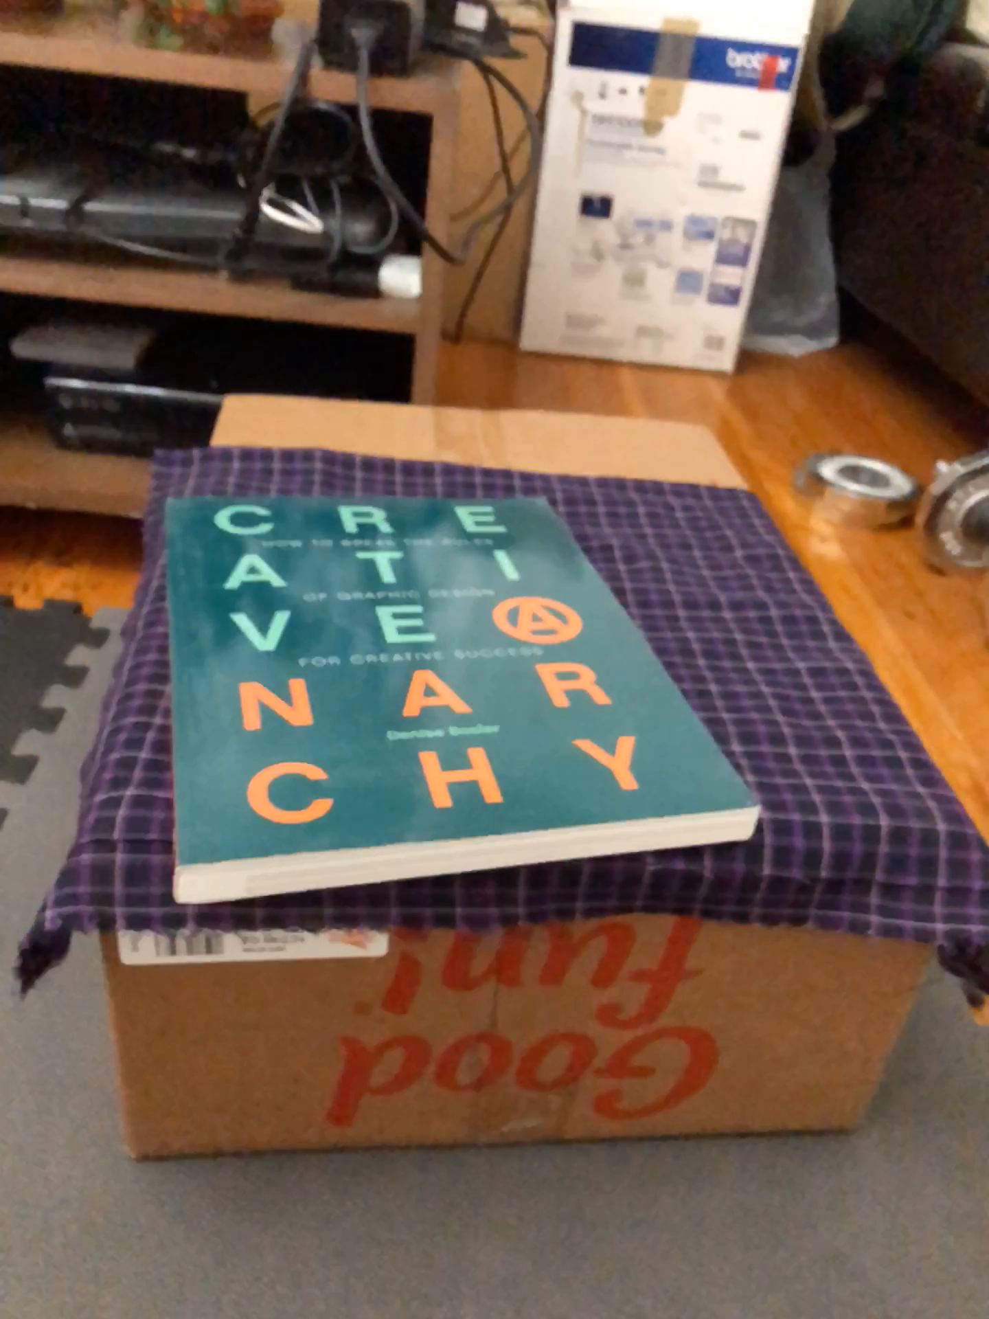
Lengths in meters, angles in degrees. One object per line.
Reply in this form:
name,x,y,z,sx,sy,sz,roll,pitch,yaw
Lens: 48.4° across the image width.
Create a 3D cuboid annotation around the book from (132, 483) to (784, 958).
book,-0.043,-0.005,0.485,0.220,0.020,0.302,-3,34,-16
